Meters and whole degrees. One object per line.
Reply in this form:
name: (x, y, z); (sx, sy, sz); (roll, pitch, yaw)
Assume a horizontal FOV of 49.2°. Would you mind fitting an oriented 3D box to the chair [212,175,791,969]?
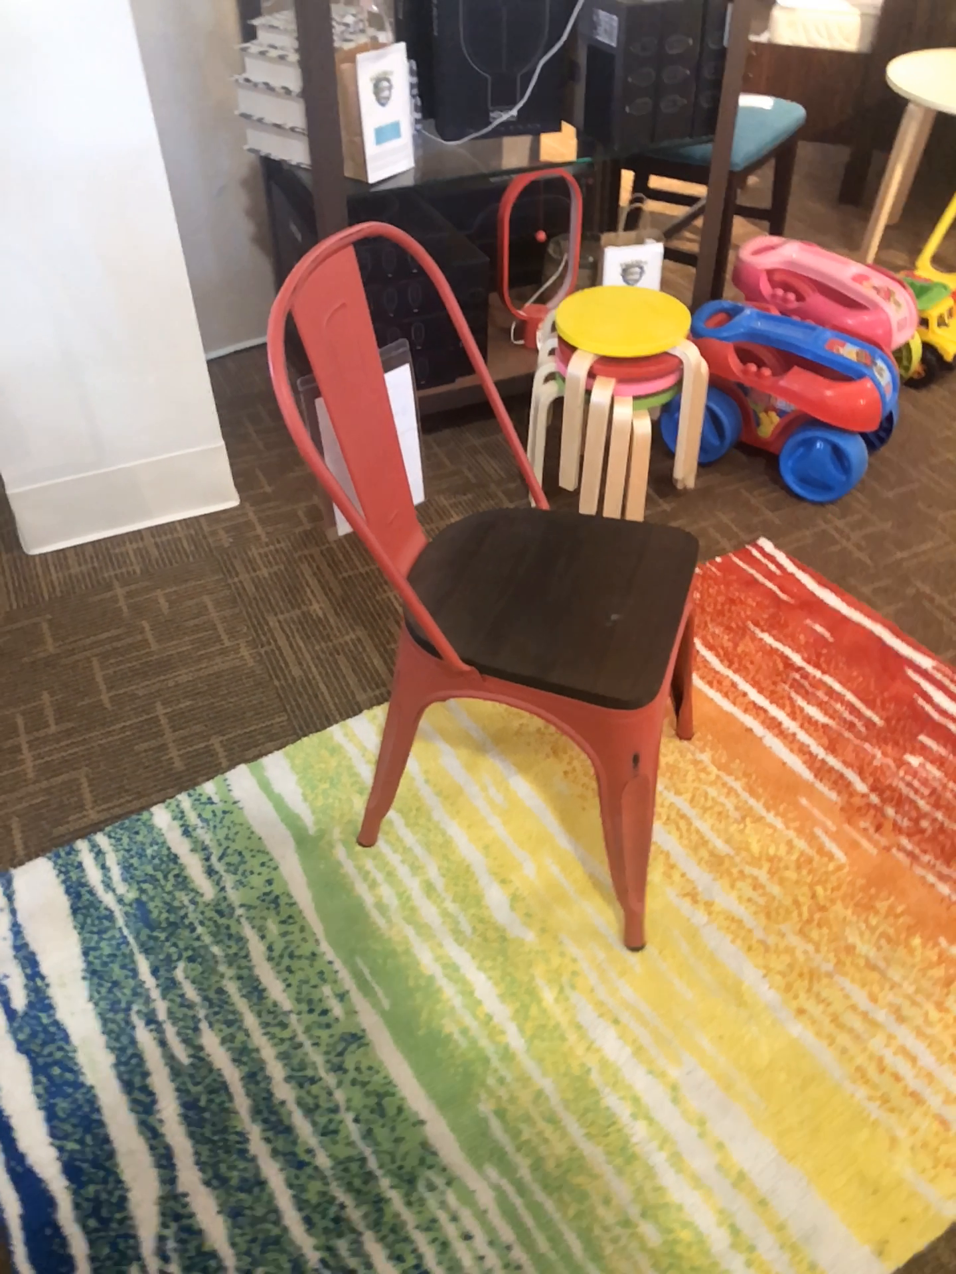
chair: (0.058, -0.059, 1.352); (0.490, 0.856, 0.452); (11, 43, 13)
